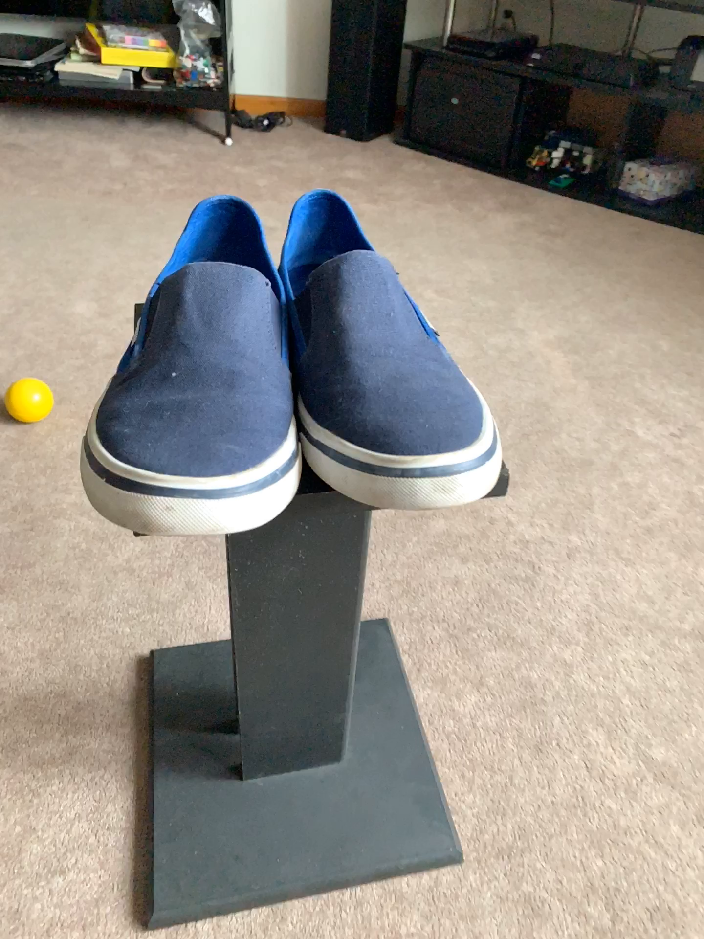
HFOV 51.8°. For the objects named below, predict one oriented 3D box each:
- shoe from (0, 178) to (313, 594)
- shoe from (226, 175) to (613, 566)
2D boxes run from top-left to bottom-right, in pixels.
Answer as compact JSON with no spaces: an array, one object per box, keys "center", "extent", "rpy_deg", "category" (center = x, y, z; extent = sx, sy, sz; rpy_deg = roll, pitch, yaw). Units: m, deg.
[{"center":[-0.088,-0.073,0.408],"extent":[0.120,0.079,0.303],"rpy_deg":[3,38,-3],"category":"shoe"},{"center":[0.010,-0.087,0.432],"extent":[0.120,0.079,0.302],"rpy_deg":[-7,40,-15],"category":"shoe"}]
